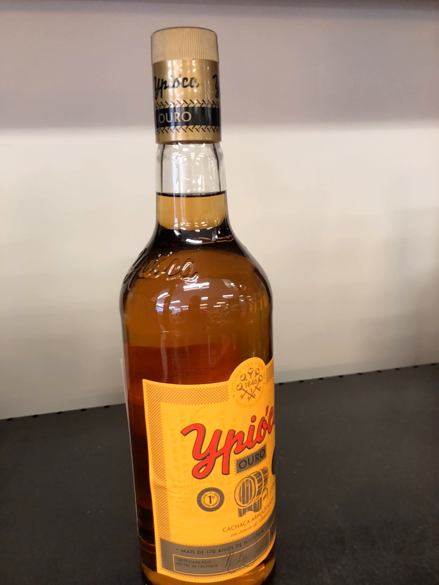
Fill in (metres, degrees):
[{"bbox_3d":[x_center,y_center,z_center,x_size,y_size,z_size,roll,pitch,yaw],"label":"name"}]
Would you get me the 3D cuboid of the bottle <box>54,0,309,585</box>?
[{"bbox_3d":[-0.014,0.031,0.245,0.080,0.308,0.070,-13,20,-37],"label":"bottle"}]
